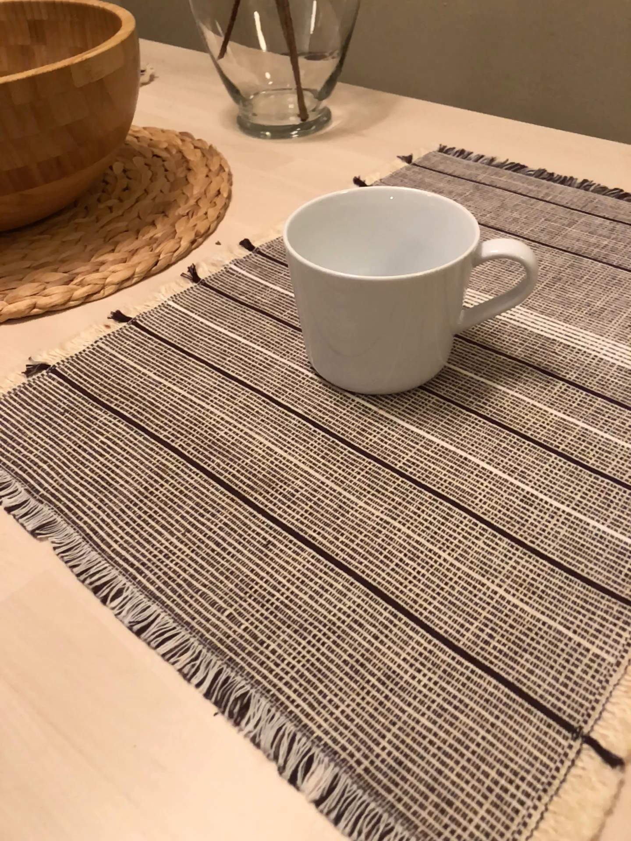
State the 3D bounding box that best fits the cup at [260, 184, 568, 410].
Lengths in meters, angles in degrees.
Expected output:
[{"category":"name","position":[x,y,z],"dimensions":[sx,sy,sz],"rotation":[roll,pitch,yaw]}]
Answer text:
[{"category":"cup","position":[0.054,-0.071,0.377],"dimensions":[0.140,0.070,0.101],"rotation":[6,42,10]}]
